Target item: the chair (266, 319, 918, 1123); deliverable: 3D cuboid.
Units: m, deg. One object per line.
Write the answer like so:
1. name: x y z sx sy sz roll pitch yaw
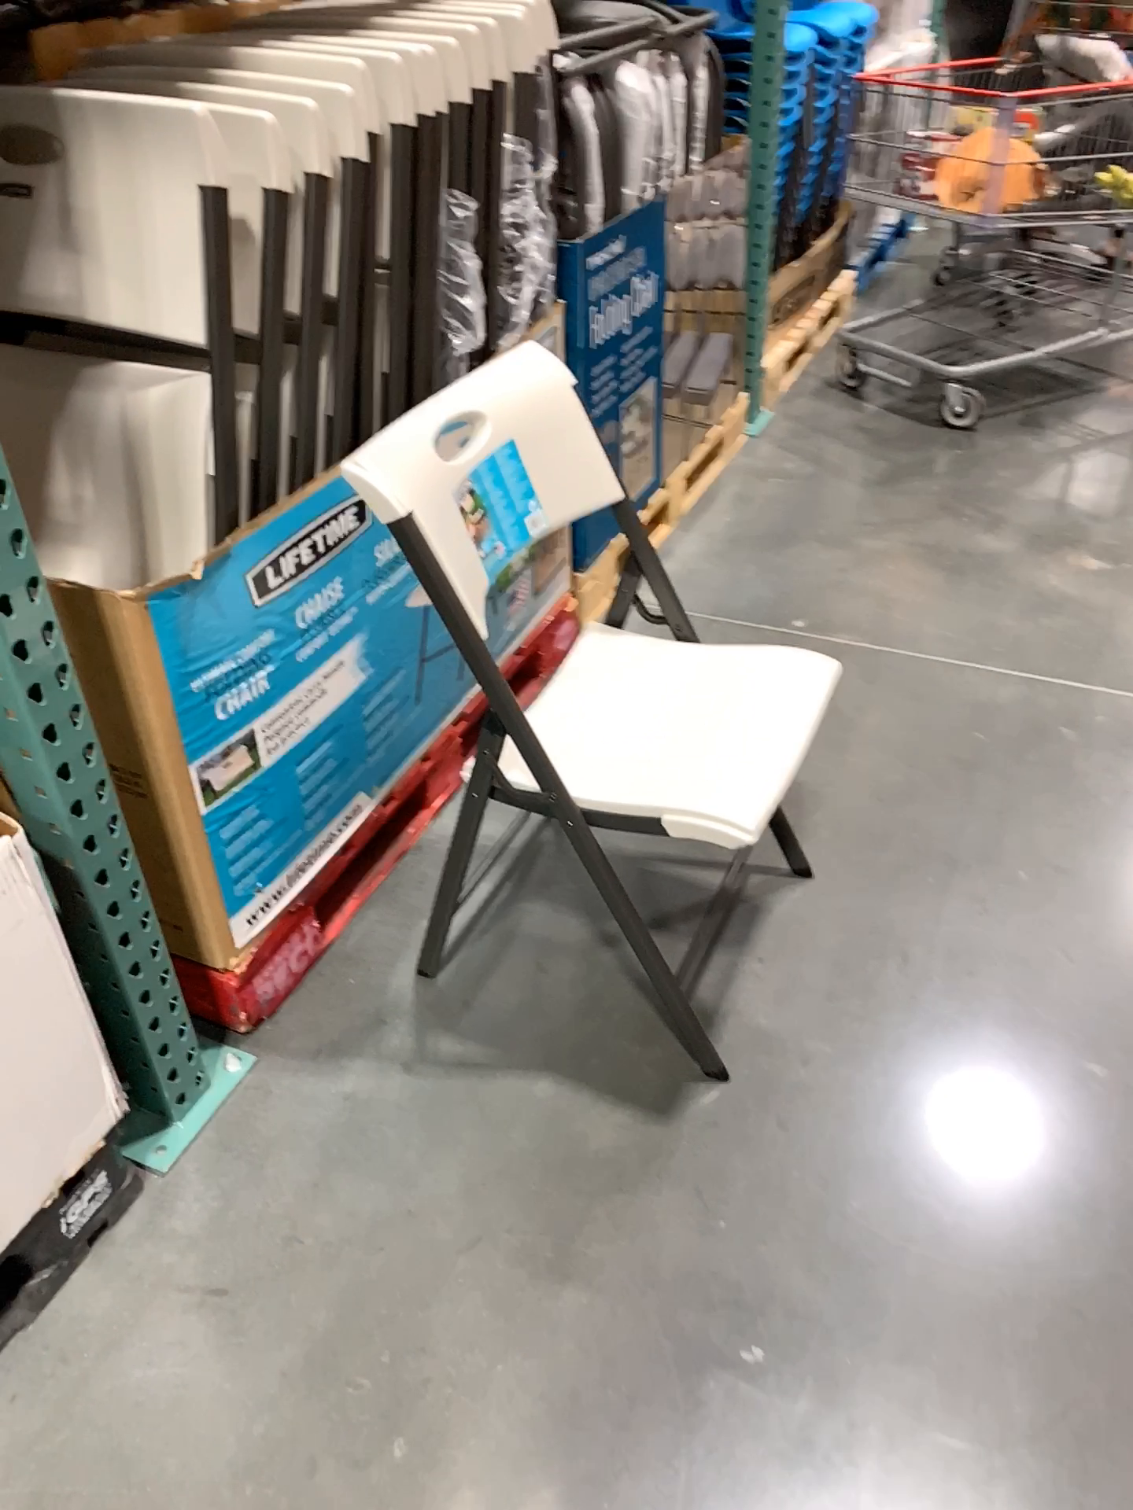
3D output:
1. chair: 0.071 -0.069 1.558 0.575 0.806 0.567 13 39 20
